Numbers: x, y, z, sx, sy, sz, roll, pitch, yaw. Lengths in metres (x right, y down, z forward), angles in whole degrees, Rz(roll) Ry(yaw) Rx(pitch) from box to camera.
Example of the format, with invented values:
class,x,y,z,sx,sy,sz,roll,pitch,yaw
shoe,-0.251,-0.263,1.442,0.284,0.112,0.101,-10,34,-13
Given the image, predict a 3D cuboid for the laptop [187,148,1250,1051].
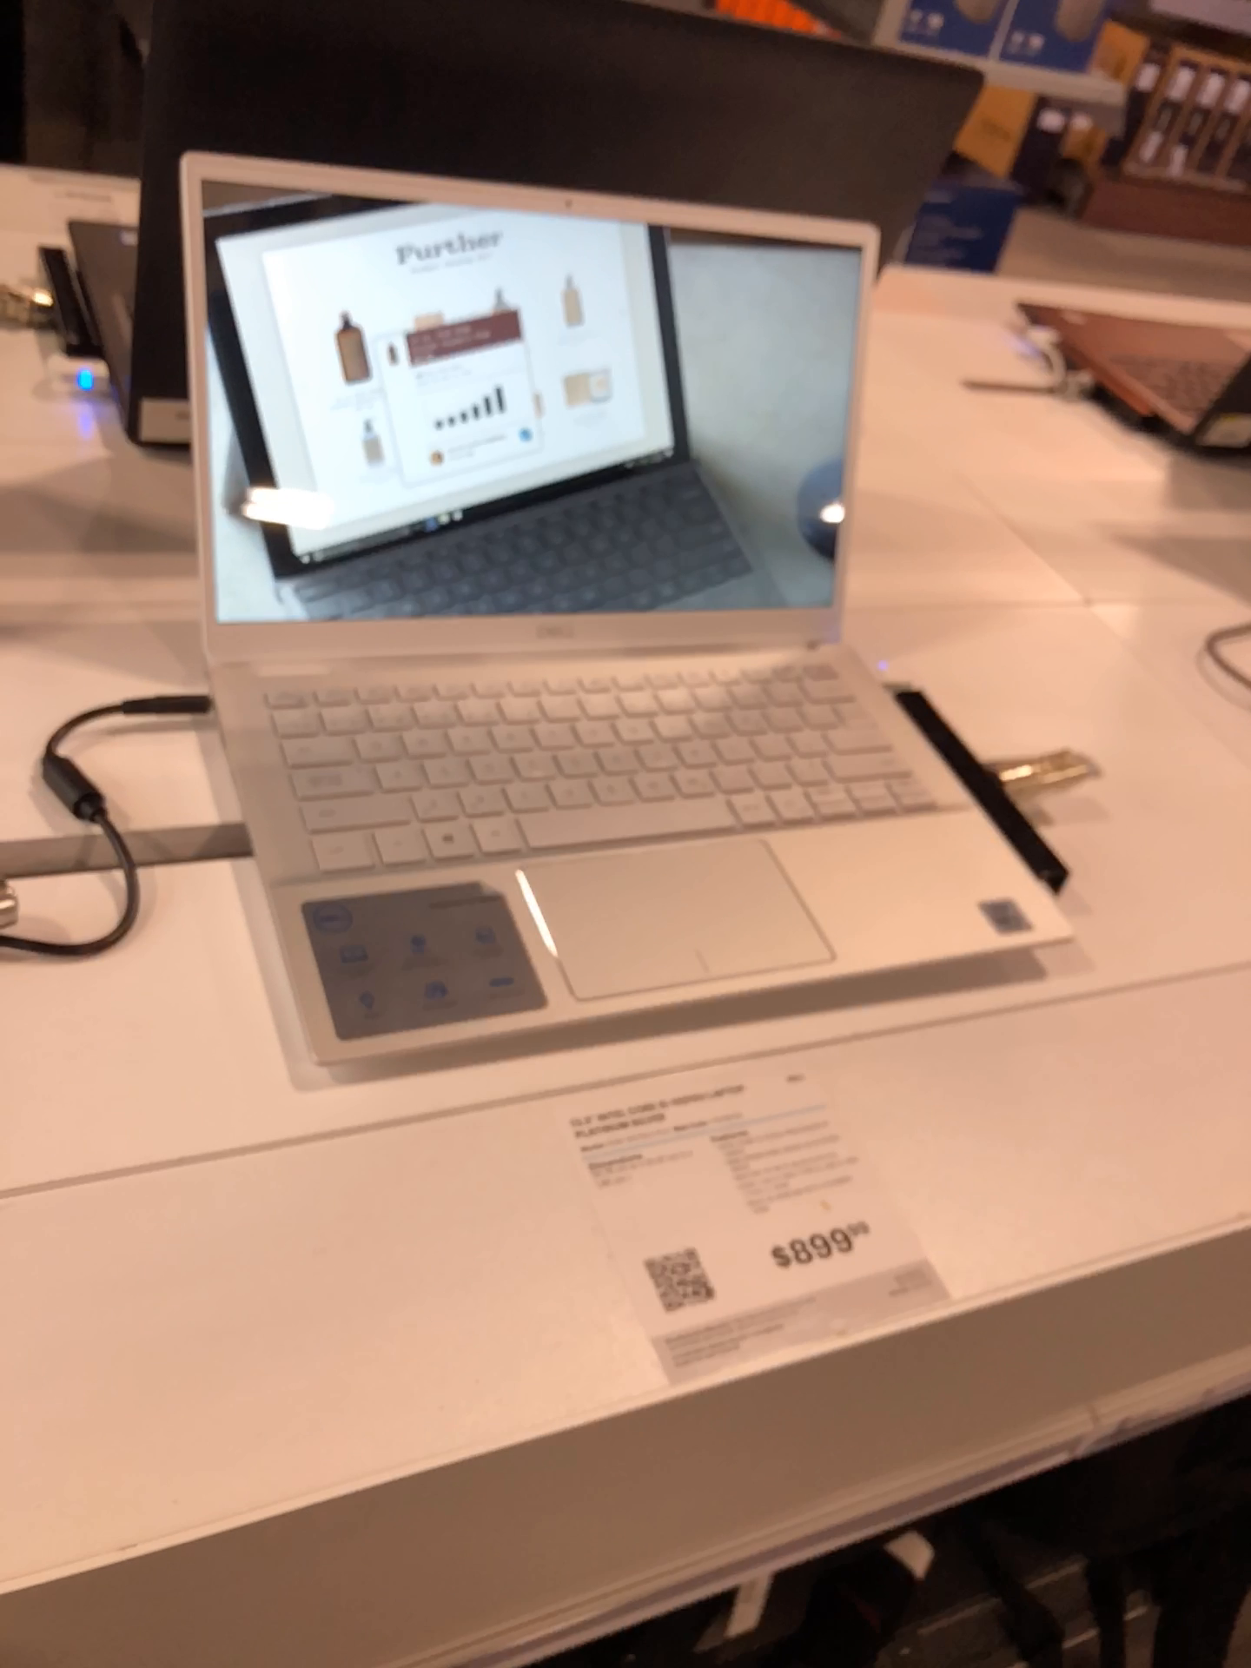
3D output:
class,x,y,z,sx,sy,sz,roll,pitch,yaw
laptop,0.006,-0.109,0.535,0.293,0.165,0.294,-6,46,-23
